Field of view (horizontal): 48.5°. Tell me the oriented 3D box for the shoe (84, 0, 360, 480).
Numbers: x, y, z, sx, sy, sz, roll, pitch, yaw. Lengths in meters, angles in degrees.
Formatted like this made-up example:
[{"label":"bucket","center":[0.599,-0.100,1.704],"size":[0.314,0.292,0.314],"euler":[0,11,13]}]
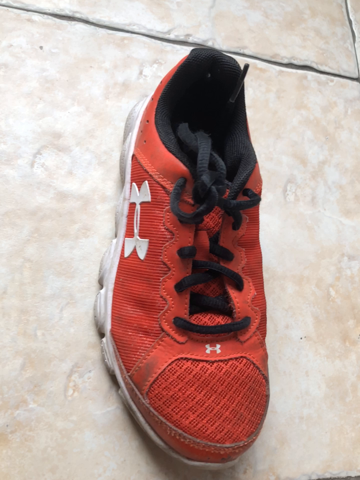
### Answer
[{"label":"shoe","center":[0.009,-0.003,0.205],"size":[0.100,0.100,0.240],"euler":[3,72,-13]}]
